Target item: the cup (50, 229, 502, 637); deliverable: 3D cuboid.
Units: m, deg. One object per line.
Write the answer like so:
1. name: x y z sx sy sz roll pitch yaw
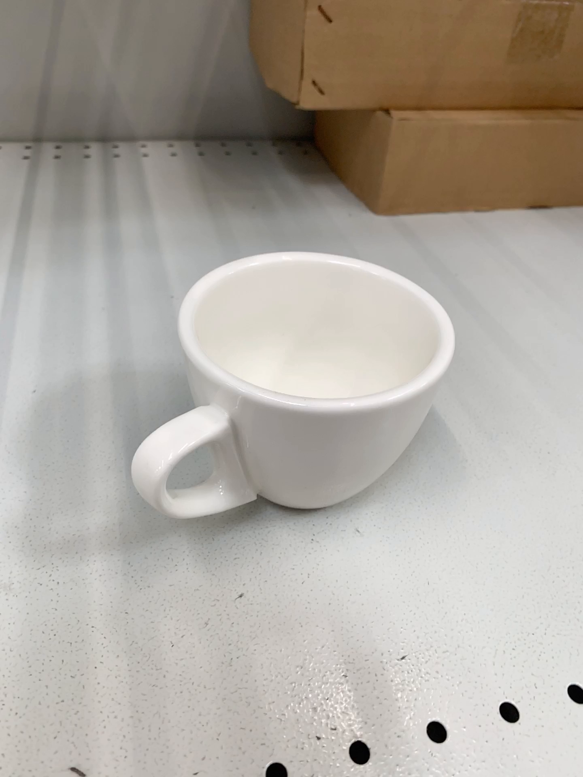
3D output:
1. cup: -0.004 0.004 0.237 0.128 0.072 0.096 -27 49 -34
